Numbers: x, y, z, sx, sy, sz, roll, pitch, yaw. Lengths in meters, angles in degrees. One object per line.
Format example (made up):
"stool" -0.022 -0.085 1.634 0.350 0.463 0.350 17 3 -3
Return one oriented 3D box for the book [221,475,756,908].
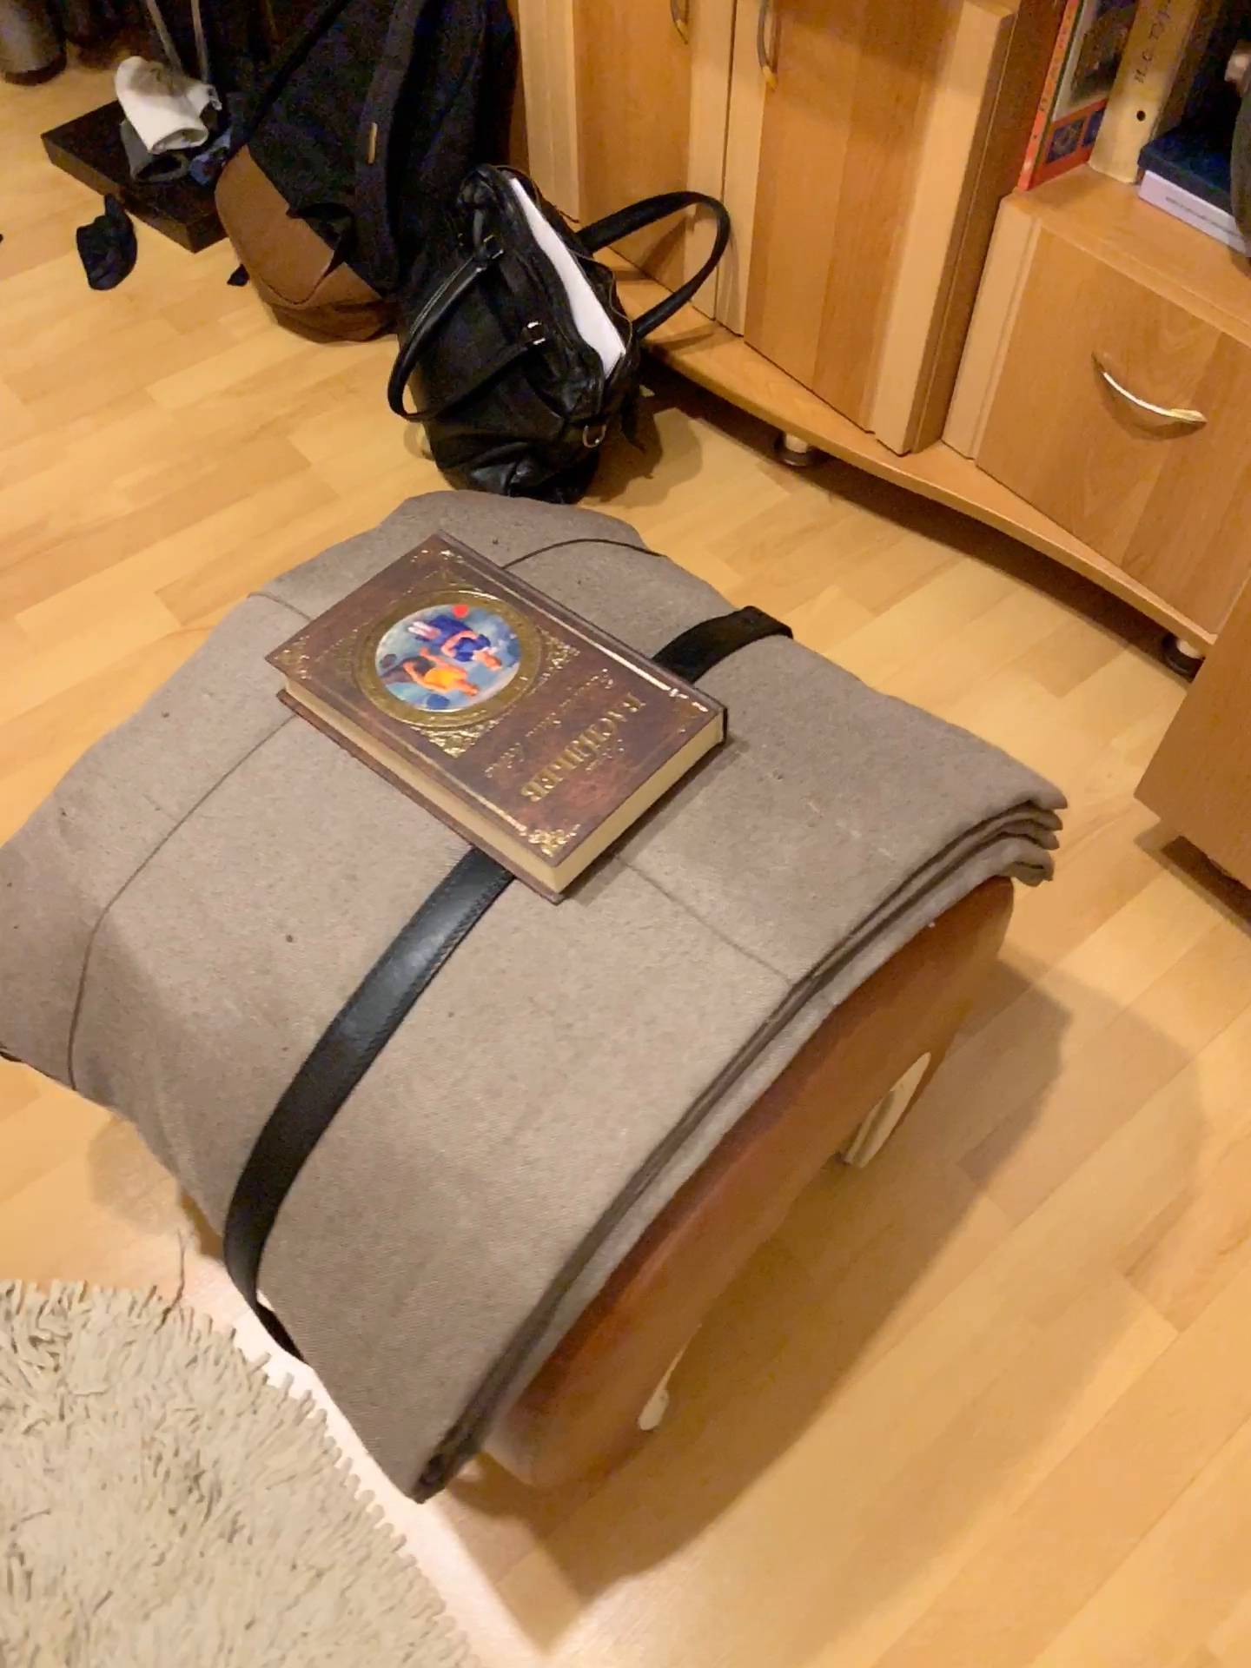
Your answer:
"book" -0.067 -0.080 0.624 0.221 0.050 0.141 33 61 27
